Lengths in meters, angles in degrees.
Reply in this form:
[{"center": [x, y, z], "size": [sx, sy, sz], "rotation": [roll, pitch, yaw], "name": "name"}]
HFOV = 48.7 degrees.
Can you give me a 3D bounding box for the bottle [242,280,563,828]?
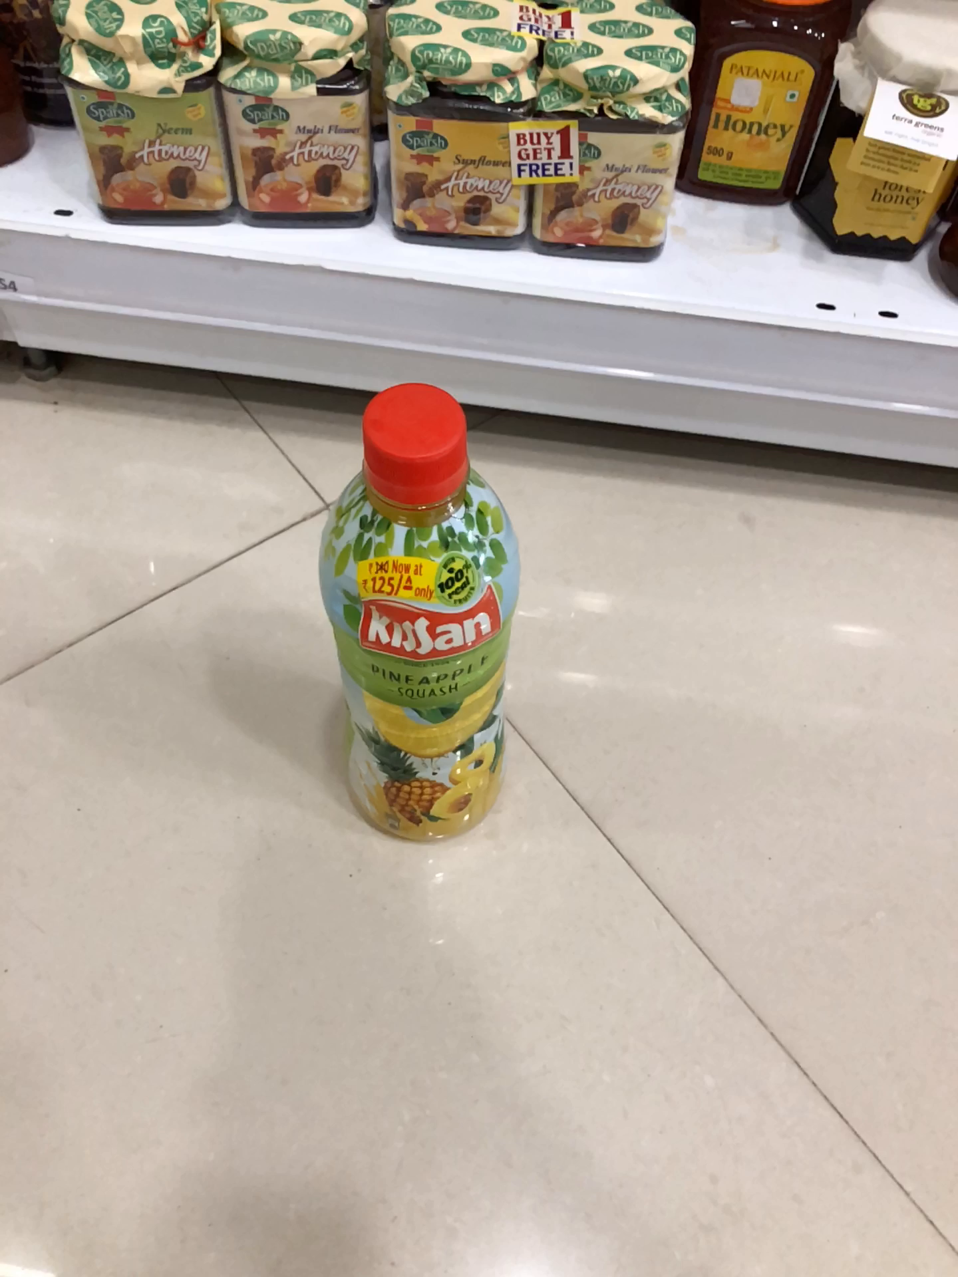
[{"center": [-0.024, -0.011, 0.384], "size": [0.080, 0.229, 0.080], "rotation": [1, 60, -1], "name": "bottle"}]
